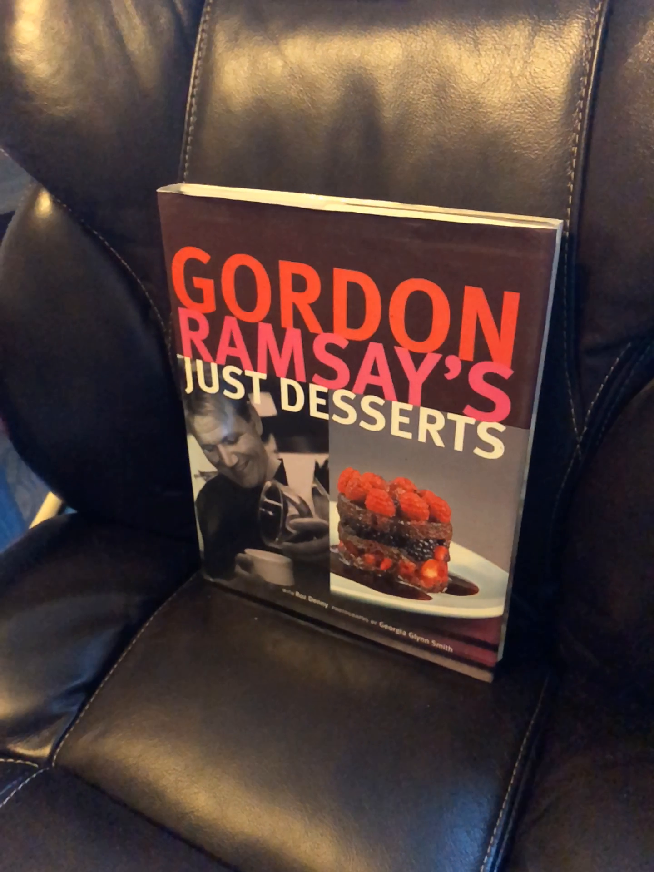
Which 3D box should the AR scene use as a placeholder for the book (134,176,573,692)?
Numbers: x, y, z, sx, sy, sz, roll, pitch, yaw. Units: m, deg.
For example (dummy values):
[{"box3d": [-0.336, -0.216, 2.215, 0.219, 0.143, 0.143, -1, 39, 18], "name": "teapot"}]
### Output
[{"box3d": [0.009, 0.005, 0.442, 0.230, 0.293, 0.030, 14, 36, 25], "name": "book"}]
